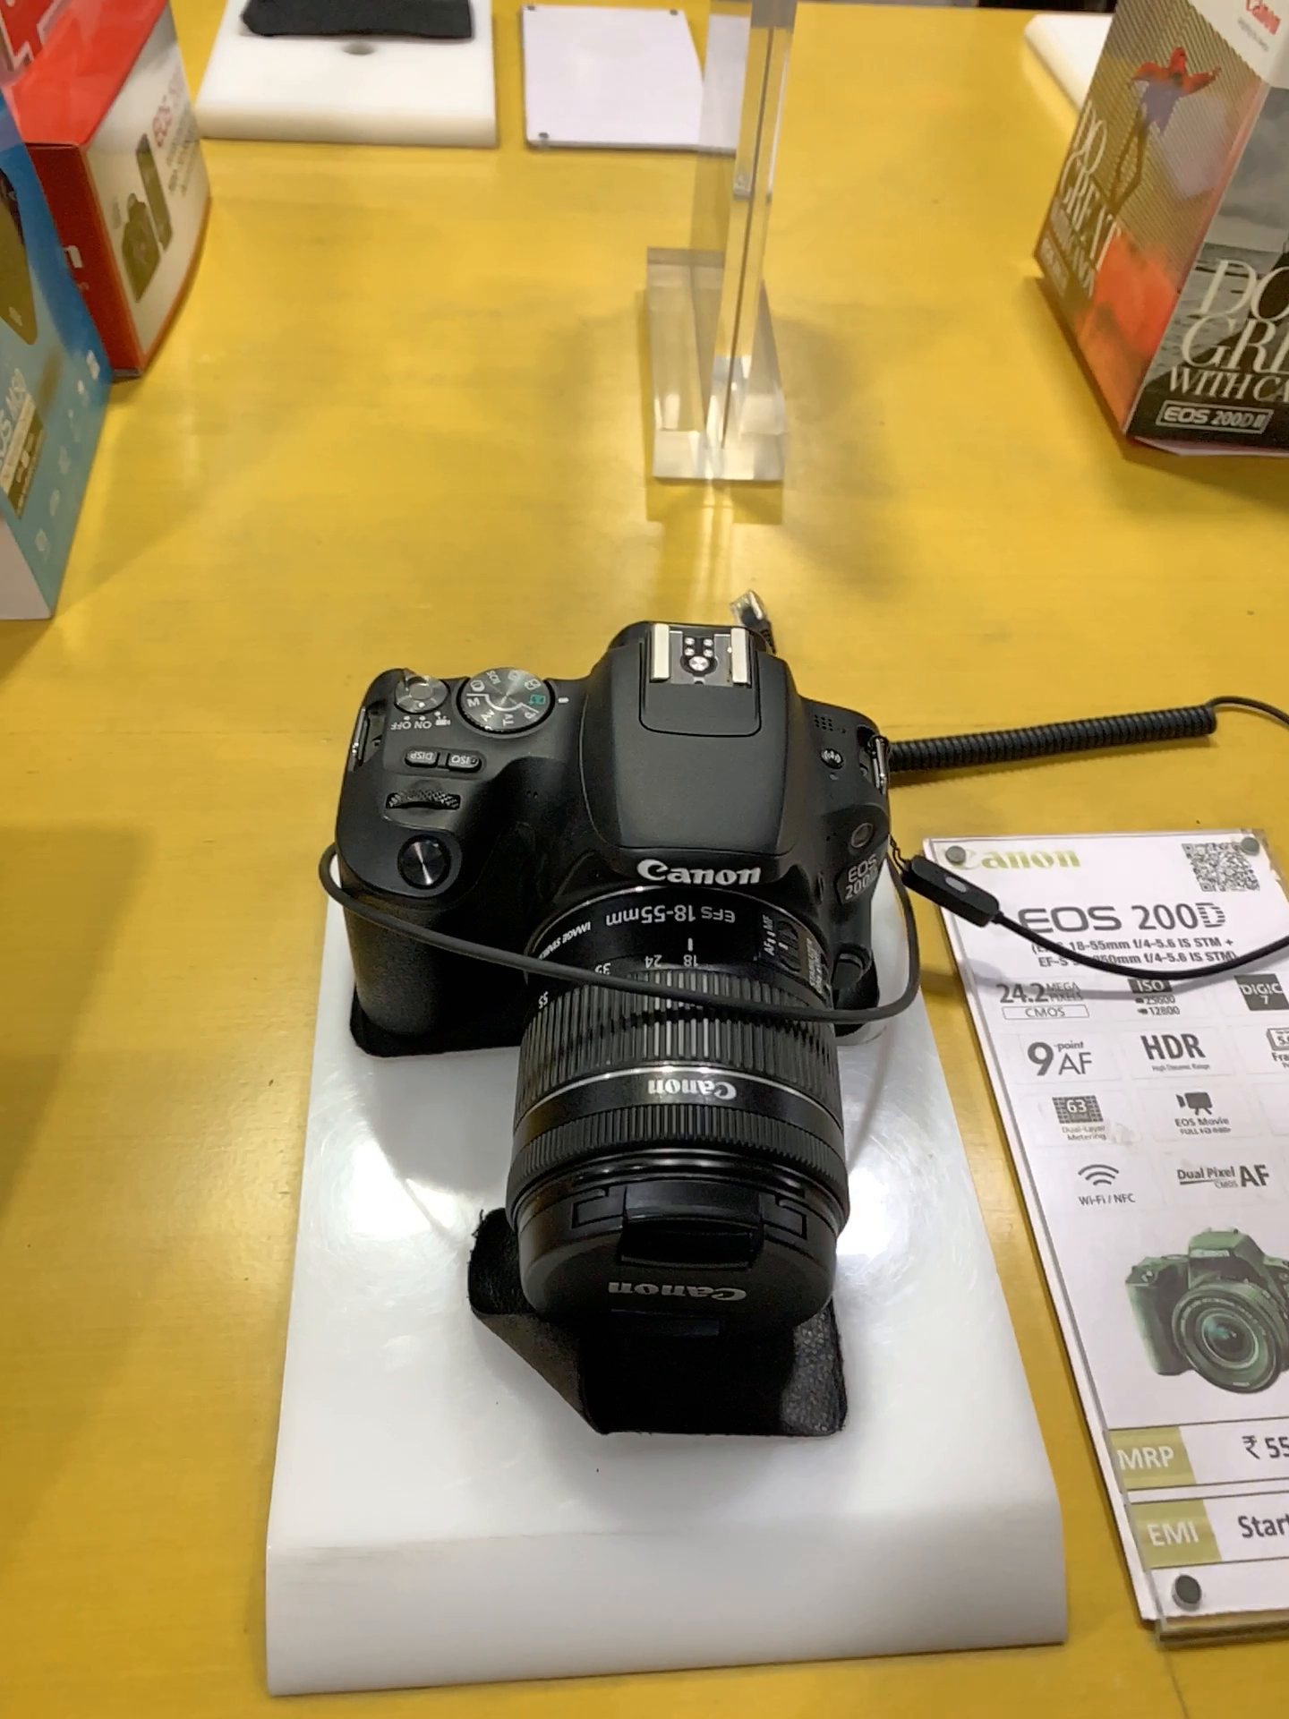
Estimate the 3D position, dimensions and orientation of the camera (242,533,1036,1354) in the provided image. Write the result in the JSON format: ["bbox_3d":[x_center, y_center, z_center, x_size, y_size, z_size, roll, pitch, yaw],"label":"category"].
[{"bbox_3d":[-0.004,0.010,0.279,0.120,0.070,0.161,1,49,-4],"label":"camera"}]
